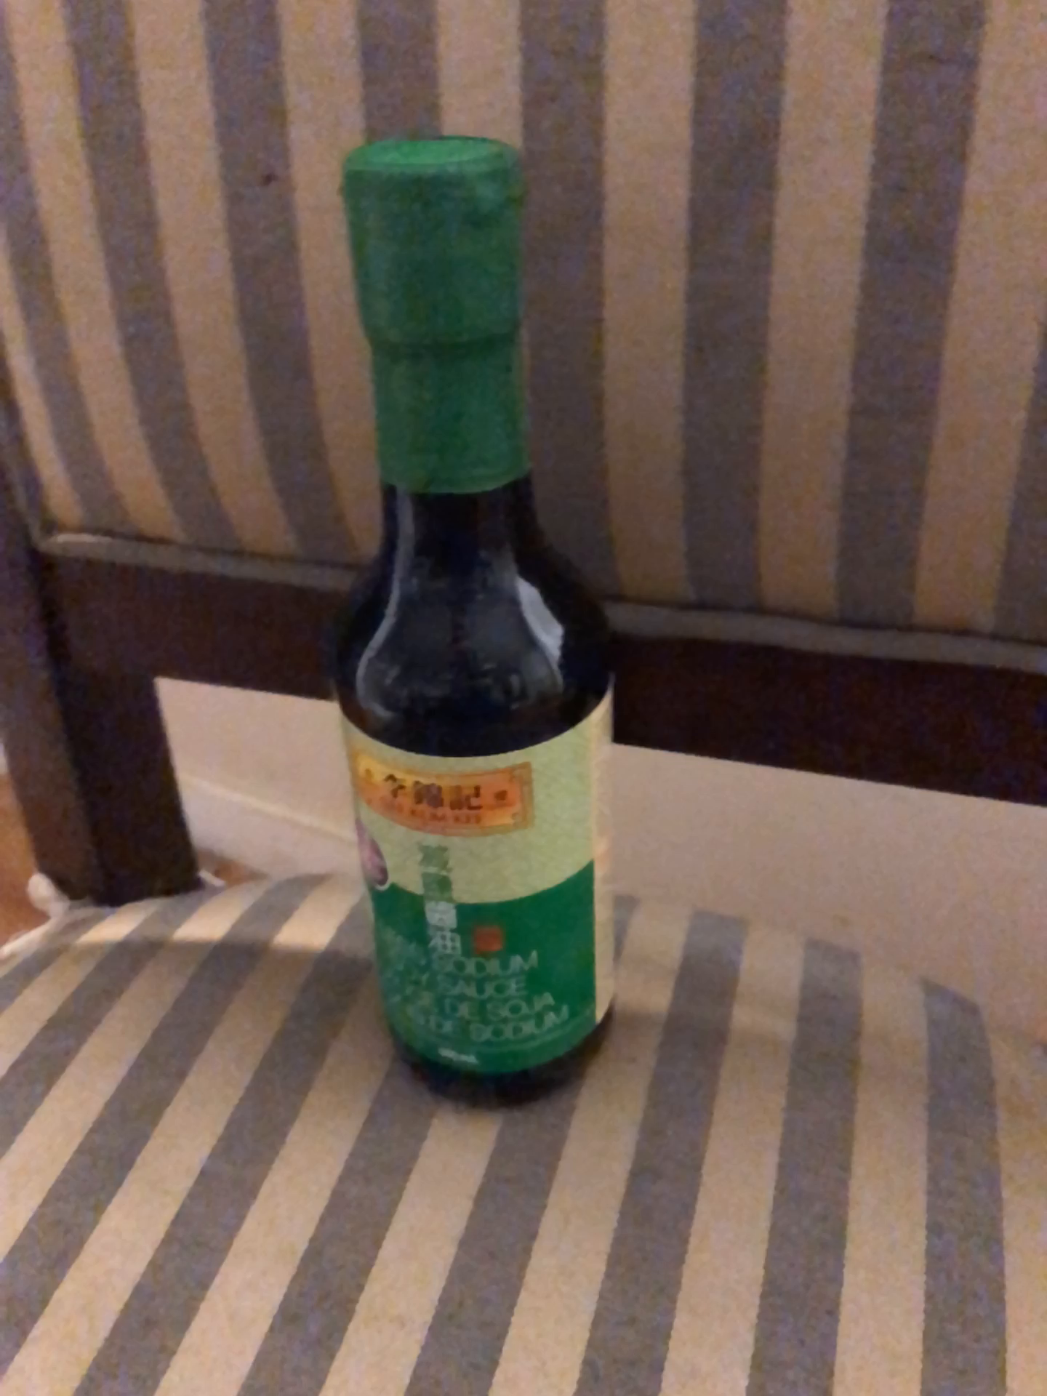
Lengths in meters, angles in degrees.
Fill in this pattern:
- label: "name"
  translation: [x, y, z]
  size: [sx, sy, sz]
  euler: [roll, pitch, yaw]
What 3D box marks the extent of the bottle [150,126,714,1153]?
- label: "bottle"
  translation: [-0.008, -0.002, 0.274]
  size: [0.080, 0.228, 0.070]
  euler: [10, 37, 18]
